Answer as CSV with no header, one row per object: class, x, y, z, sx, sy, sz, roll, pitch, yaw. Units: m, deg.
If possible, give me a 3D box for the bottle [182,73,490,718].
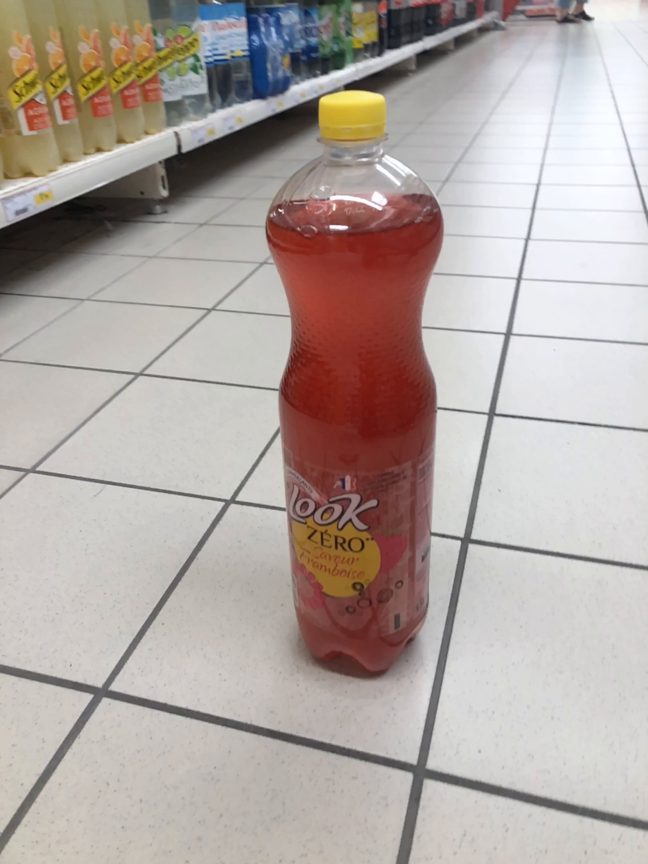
bottle,0.014,-0.008,0.387,0.100,0.328,0.091,15,35,28
